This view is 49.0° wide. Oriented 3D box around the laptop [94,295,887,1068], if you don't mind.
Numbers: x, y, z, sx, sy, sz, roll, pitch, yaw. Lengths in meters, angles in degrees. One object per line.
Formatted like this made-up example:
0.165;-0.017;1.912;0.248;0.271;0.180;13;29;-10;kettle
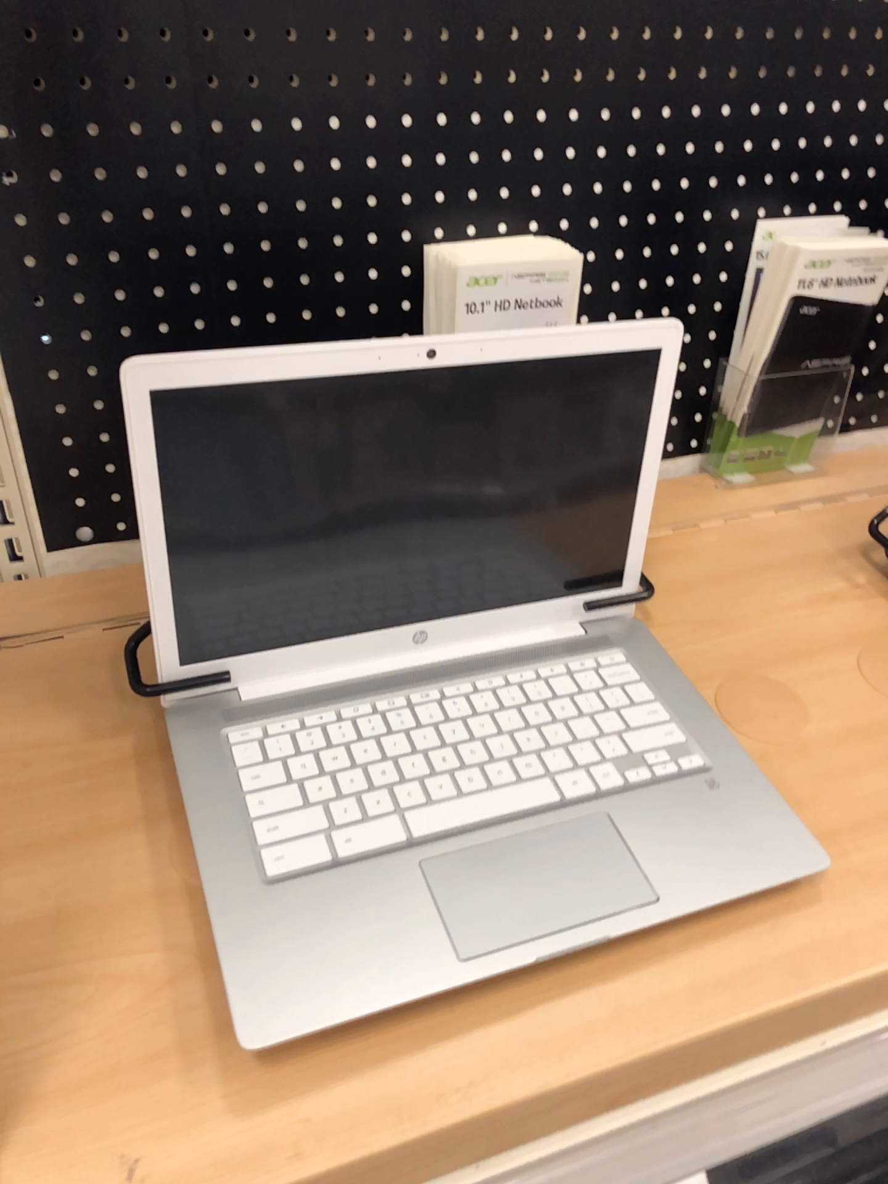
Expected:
0.017;0.008;0.530;0.333;0.198;0.281;-11;40;-20;laptop
